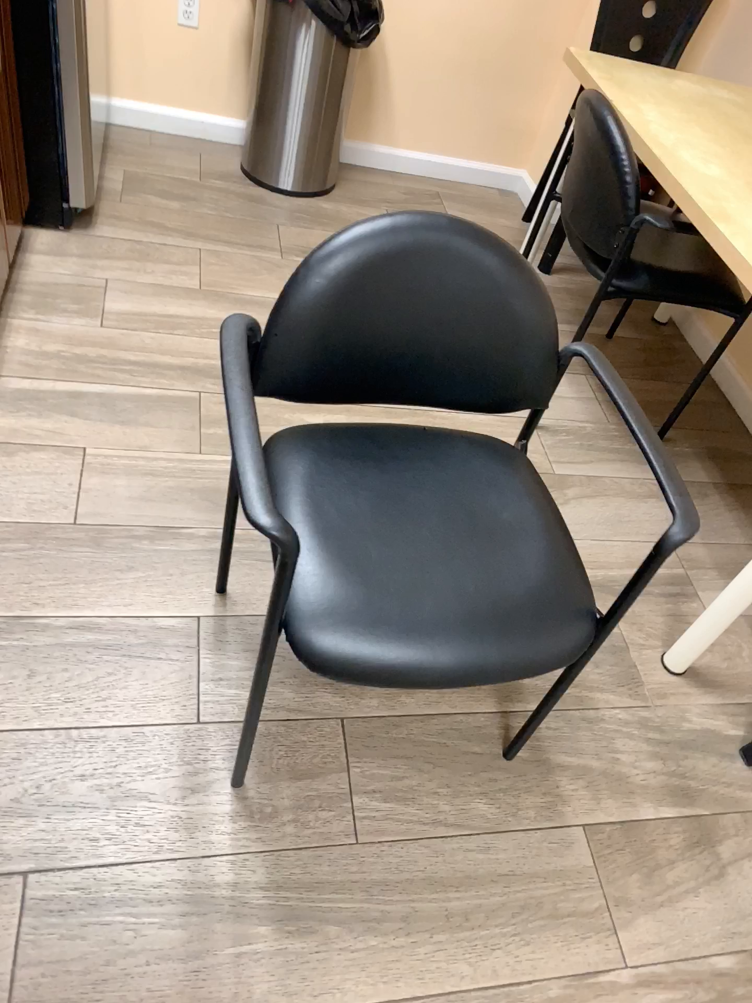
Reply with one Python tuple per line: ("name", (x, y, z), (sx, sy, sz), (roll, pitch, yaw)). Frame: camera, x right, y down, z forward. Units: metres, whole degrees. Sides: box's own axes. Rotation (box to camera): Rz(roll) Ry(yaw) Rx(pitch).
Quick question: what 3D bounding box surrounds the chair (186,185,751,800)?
("chair", (0.040, 0.026, 1.185), (0.590, 0.736, 0.522), (0, 48, -18))
